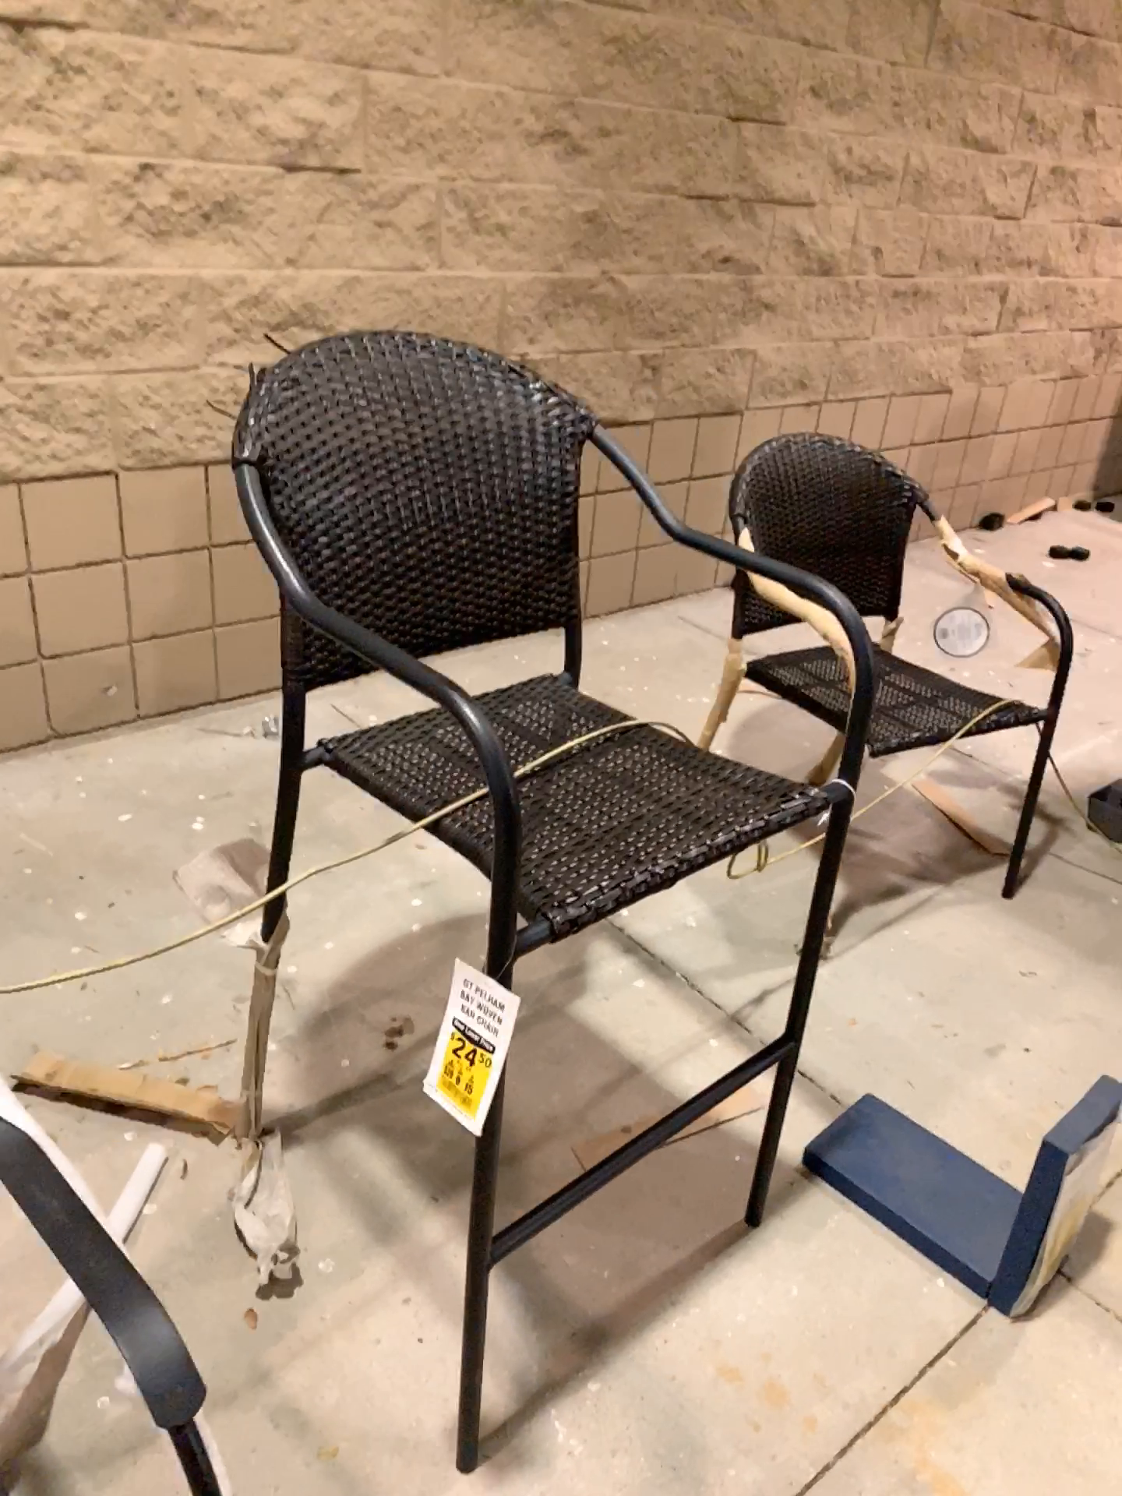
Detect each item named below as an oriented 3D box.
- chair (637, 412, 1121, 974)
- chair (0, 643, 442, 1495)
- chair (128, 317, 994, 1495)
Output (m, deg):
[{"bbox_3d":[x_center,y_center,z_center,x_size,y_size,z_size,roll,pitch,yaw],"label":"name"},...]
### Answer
[{"bbox_3d":[0.603,-0.149,2.224,0.568,0.833,0.629,-10,32,-27],"label":"chair"},{"bbox_3d":[-0.516,0.484,0.737,0.608,0.833,0.579,29,35,36],"label":"chair"},{"bbox_3d":[-0.058,0.137,1.337,0.559,1.101,0.609,-19,37,-39],"label":"chair"}]
